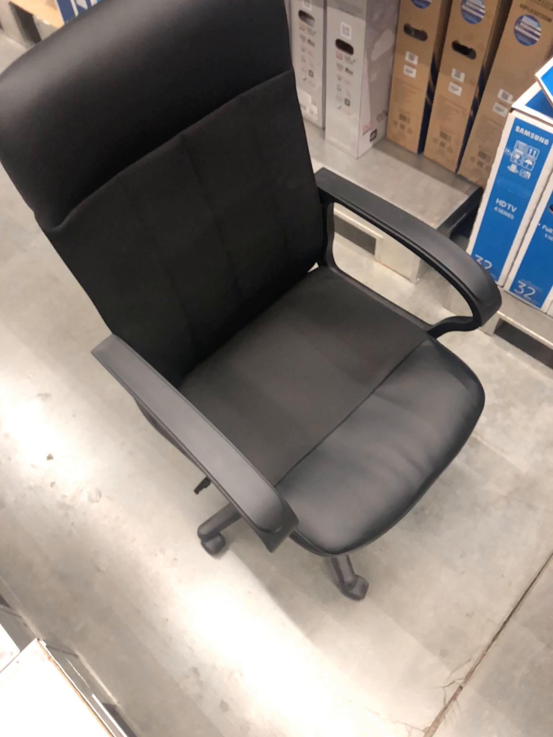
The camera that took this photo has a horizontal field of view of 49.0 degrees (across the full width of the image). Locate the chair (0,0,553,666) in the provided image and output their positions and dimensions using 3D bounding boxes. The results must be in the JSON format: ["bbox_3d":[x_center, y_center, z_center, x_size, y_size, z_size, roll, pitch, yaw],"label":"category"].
[{"bbox_3d":[0.042,-0.007,1.124,0.632,1.124,0.652,37,68,23],"label":"chair"}]
